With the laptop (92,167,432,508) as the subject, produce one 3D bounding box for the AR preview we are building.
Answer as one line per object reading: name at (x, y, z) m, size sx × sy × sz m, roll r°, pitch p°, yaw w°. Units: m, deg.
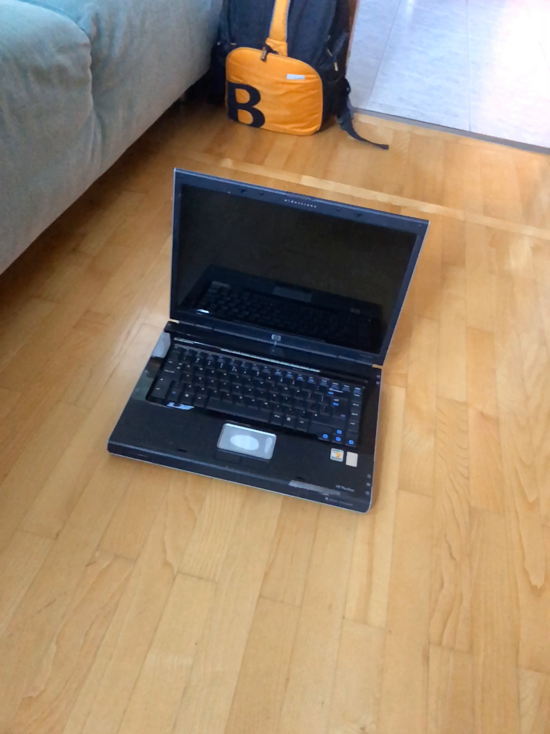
laptop at (-0.004, -0.048, 0.830) m, size 0.363 × 0.254 × 0.308 m, roll 13°, pitch 45°, yaw 3°
